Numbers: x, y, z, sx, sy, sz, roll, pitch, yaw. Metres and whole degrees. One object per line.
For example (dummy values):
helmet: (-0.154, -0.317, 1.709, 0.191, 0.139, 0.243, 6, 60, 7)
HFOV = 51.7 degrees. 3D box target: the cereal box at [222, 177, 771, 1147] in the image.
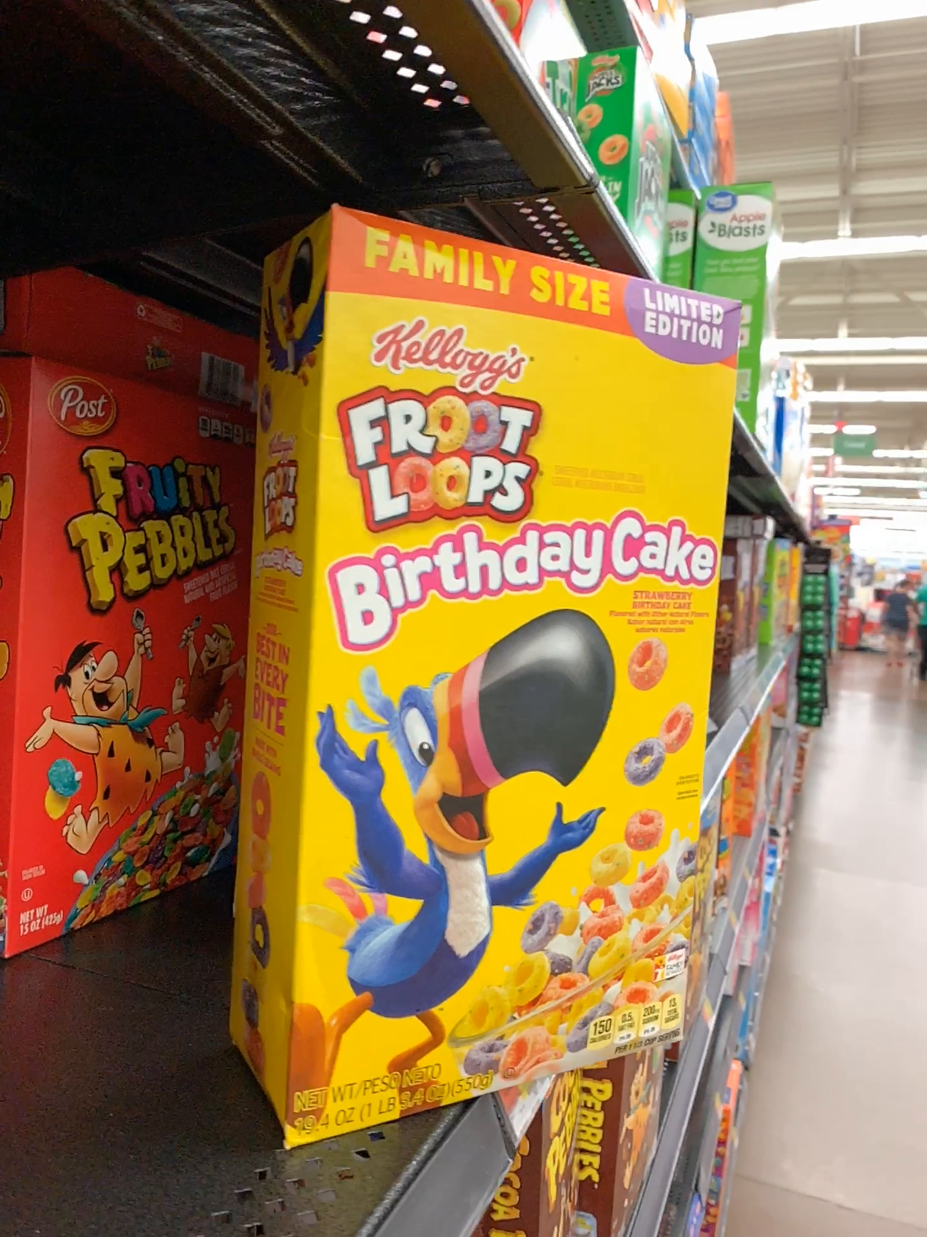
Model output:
cereal box: (0.017, 0.018, 0.409, 0.200, 0.330, 0.080, 2, 3, -31)
